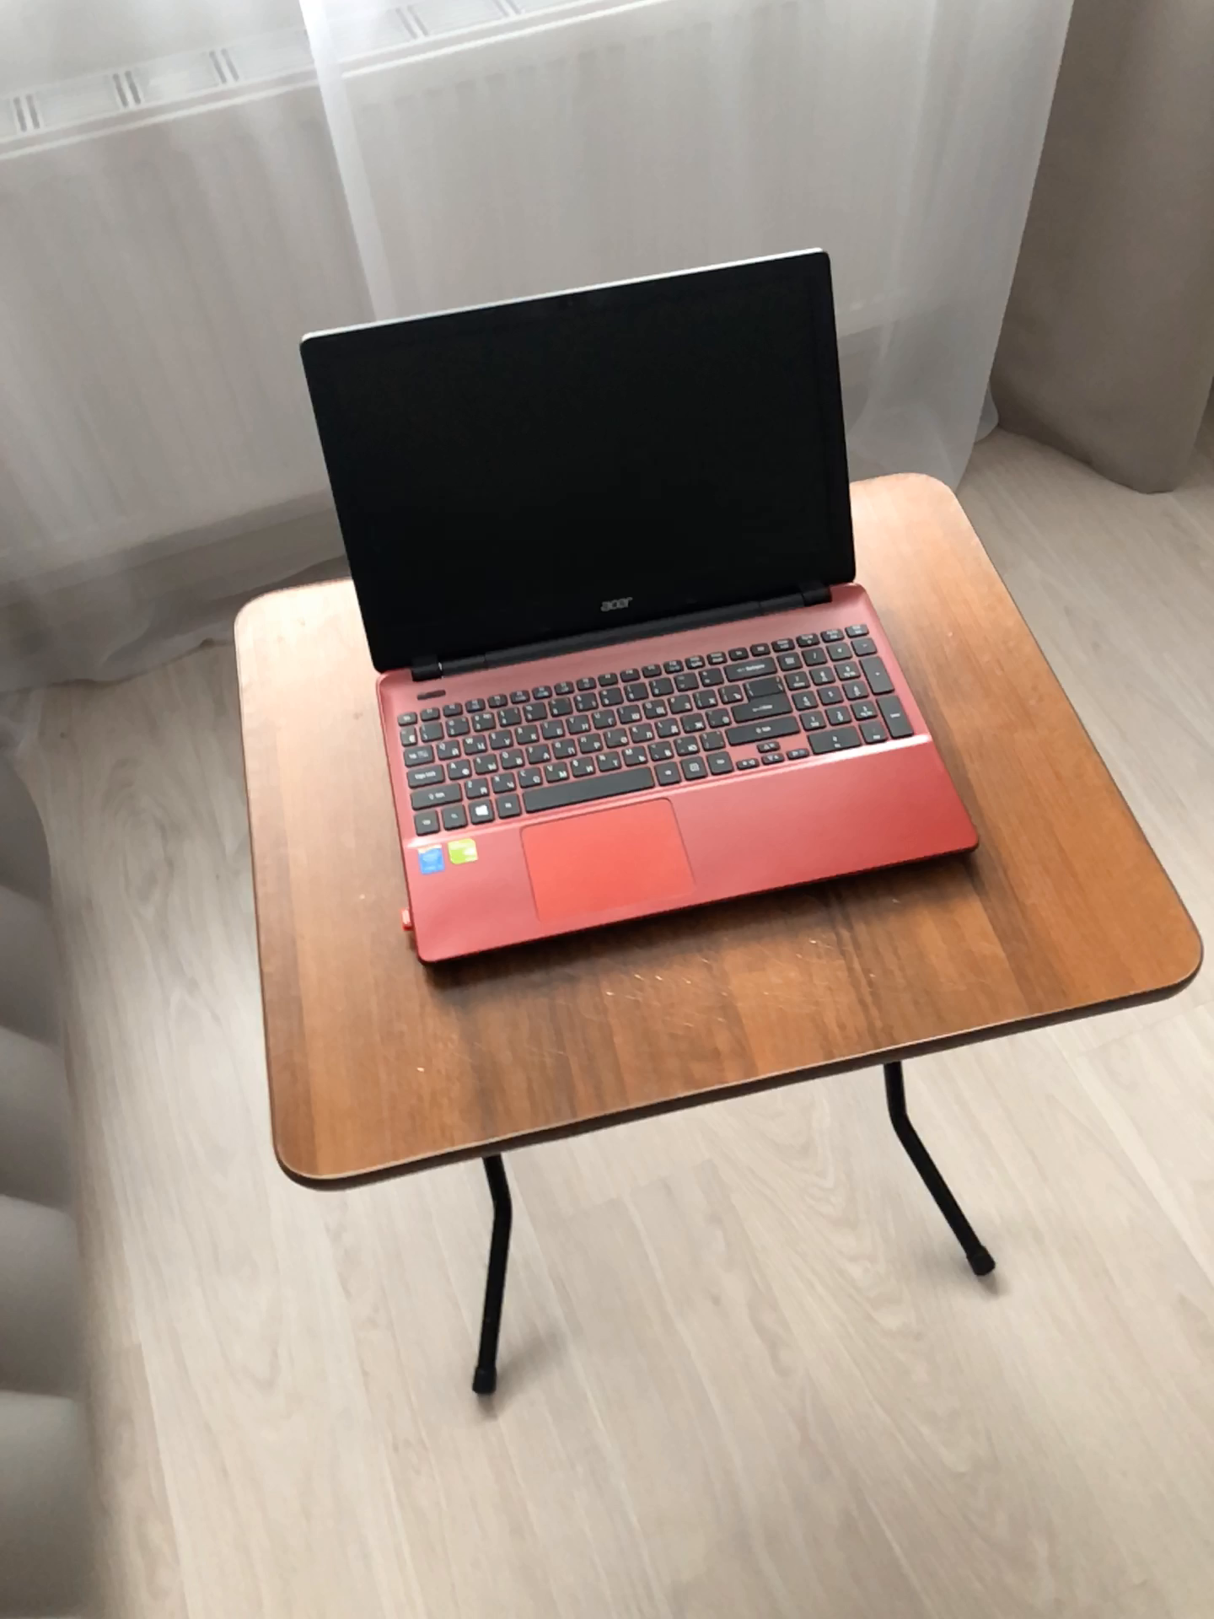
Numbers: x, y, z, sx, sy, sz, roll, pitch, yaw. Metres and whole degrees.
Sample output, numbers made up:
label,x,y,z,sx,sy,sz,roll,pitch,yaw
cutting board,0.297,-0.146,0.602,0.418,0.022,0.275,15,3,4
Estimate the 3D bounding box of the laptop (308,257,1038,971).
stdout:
label,x,y,z,sx,sy,sz,roll,pitch,yaw
laptop,0.019,-0.143,0.897,0.371,0.191,0.382,-12,55,-4
